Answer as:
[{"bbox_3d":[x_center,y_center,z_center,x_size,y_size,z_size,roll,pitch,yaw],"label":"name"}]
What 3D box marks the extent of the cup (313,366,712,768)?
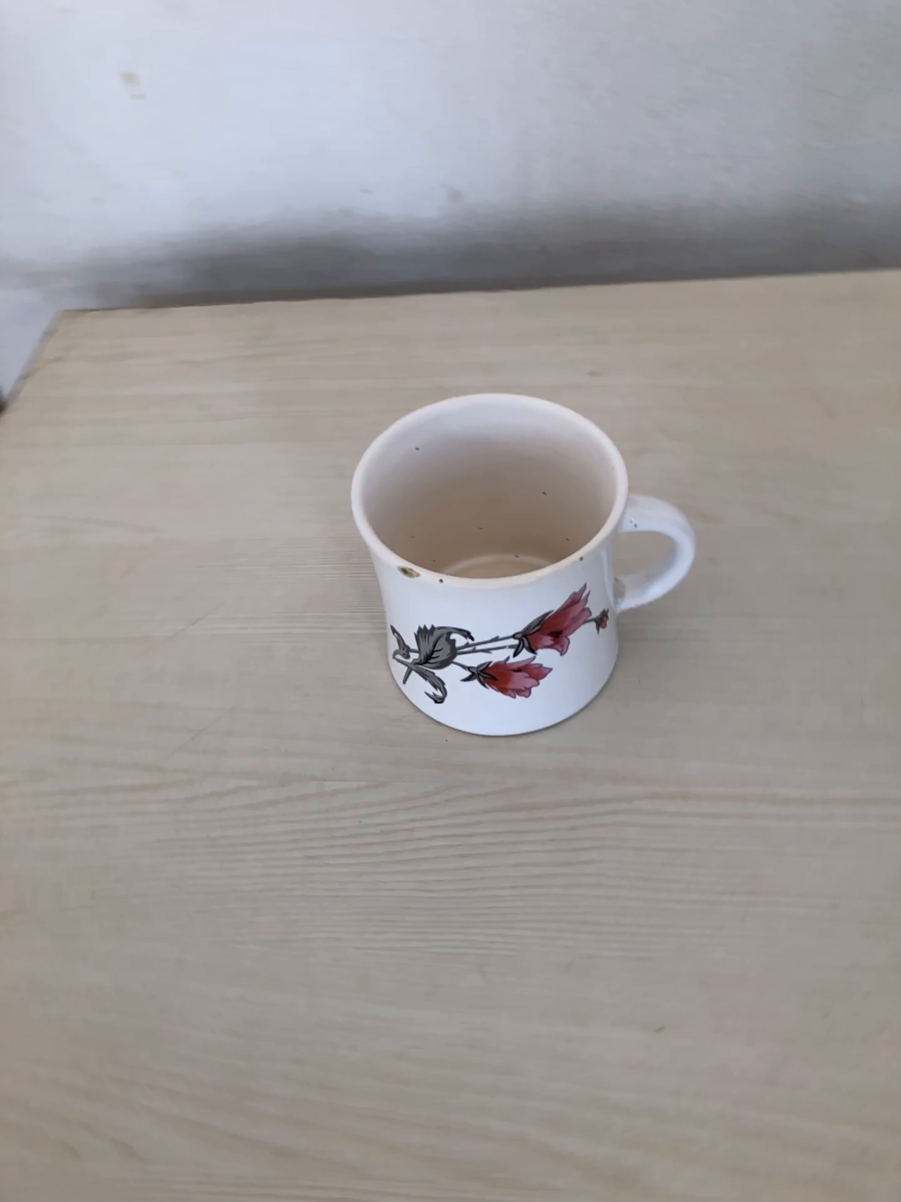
[{"bbox_3d":[0.017,-0.009,0.279,0.090,0.070,0.080,-4,47,4],"label":"cup"}]
